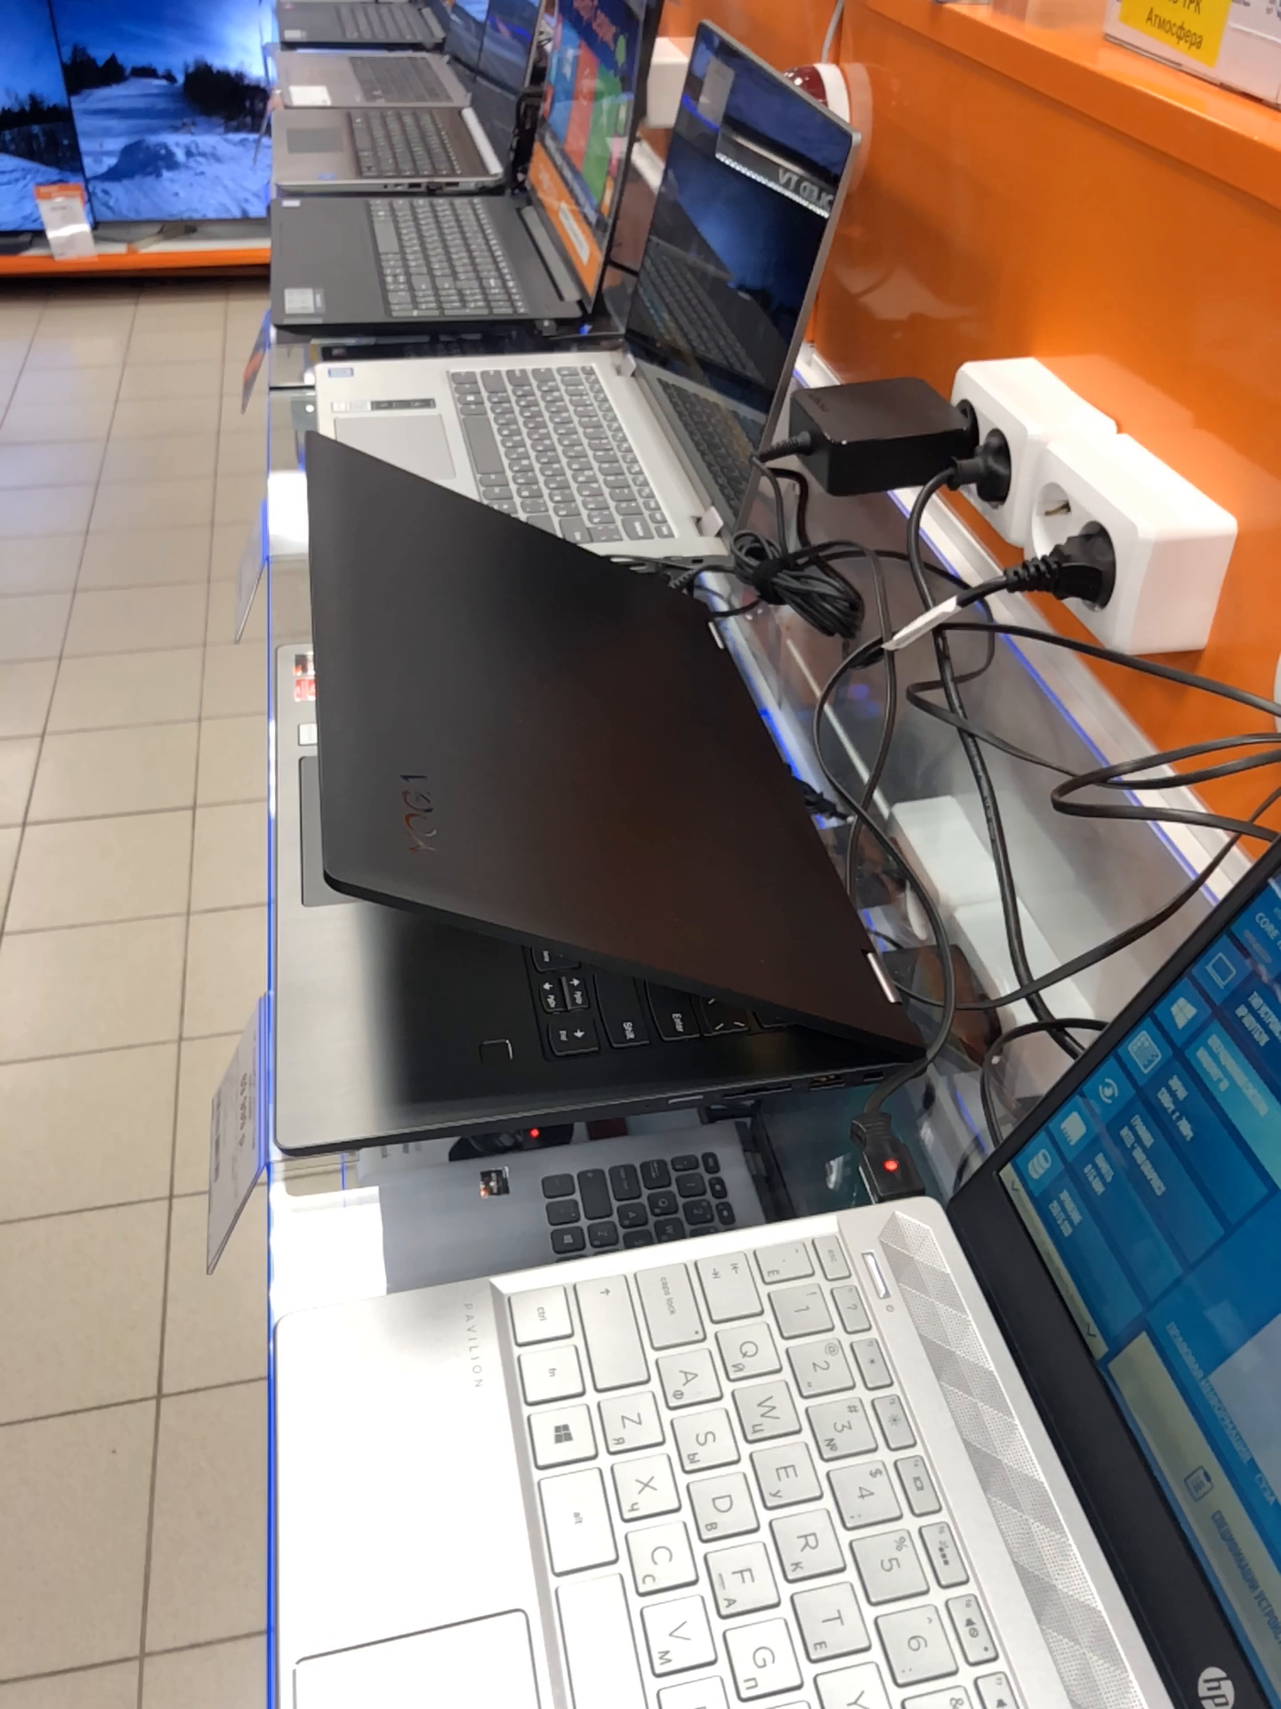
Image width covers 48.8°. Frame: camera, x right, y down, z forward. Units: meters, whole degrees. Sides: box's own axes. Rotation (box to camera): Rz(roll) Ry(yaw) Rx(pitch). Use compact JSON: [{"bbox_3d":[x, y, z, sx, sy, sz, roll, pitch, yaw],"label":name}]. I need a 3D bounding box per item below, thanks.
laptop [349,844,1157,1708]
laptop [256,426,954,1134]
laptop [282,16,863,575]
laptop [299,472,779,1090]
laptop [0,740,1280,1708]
[{"bbox_3d":[0.010,0.205,0.650,0.256,0.236,0.355,-5,38,-8],"label":"laptop"},{"bbox_3d":[-0.037,-0.058,0.583,0.213,0.102,0.325,-7,39,-8],"label":"laptop"},{"bbox_3d":[-0.061,-0.354,0.862,0.267,0.219,0.312,-7,40,-9],"label":"laptop"},{"bbox_3d":[-0.088,-0.073,0.993,0.265,0.223,0.375,-7,40,-10],"label":"laptop"},{"bbox_3d":[0.074,0.137,0.272,0.317,0.162,0.284,-7,36,-6],"label":"laptop"}]
